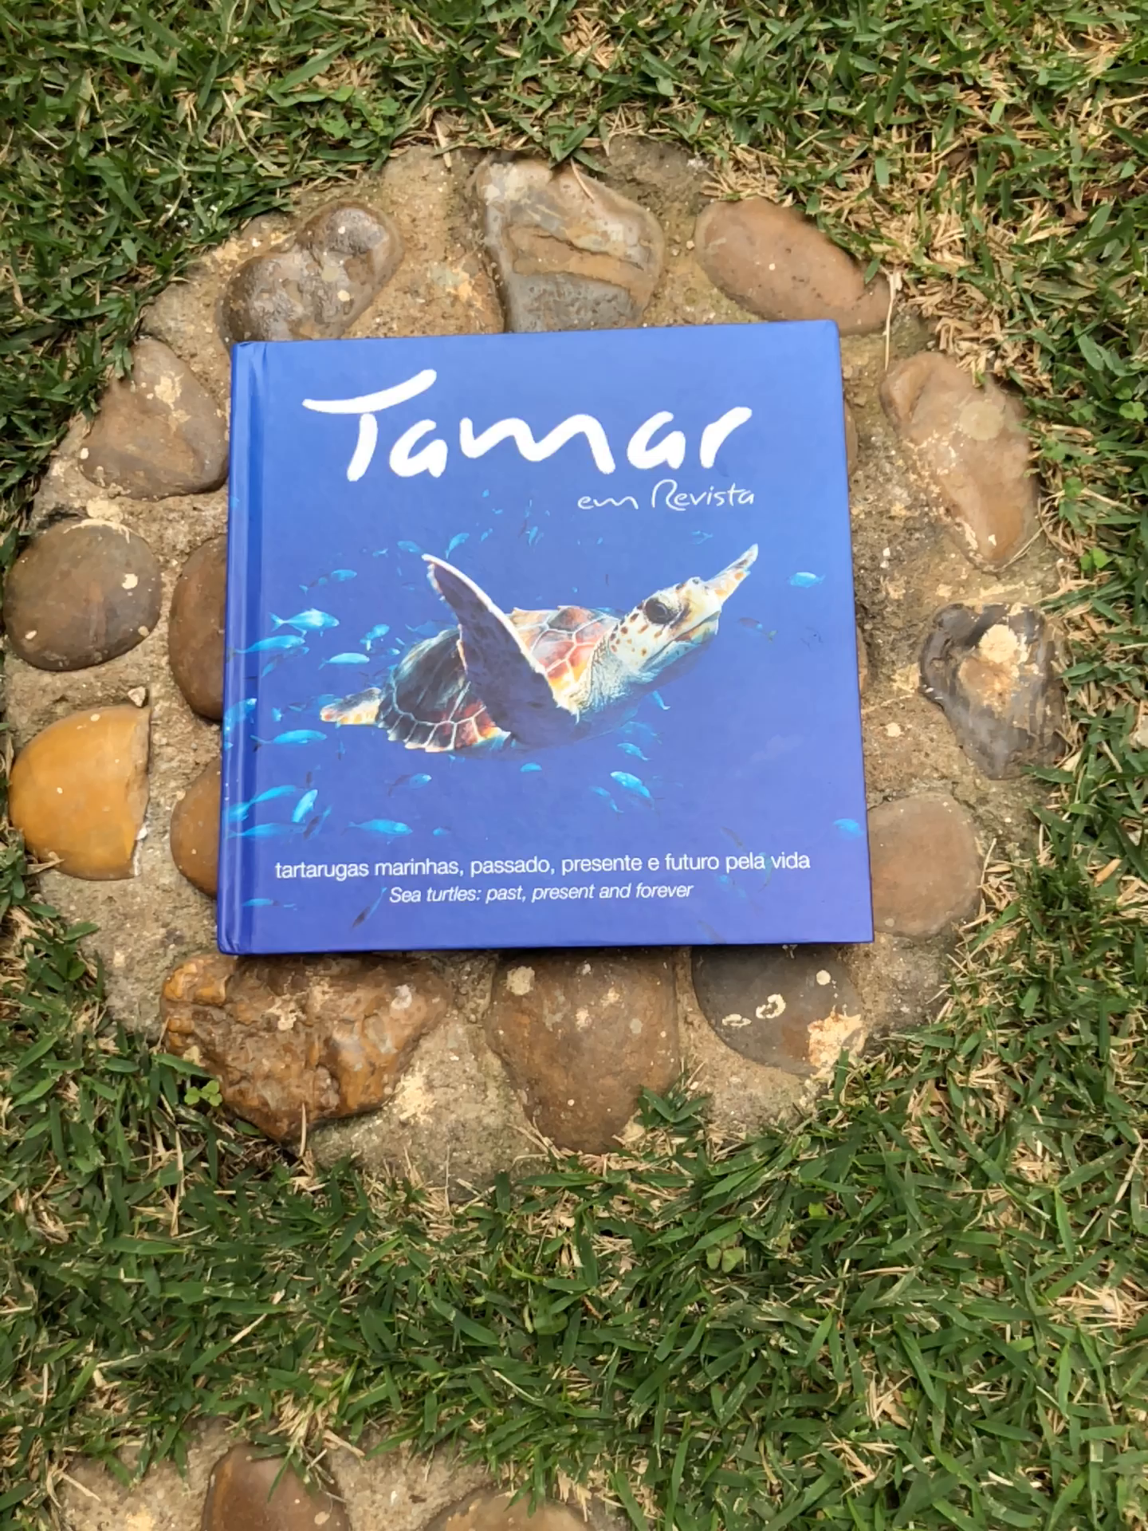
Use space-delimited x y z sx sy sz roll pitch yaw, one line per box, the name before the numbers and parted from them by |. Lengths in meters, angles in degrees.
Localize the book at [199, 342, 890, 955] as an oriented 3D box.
book | -0.008 -0.032 0.352 0.179 0.020 0.167 -1 80 4
